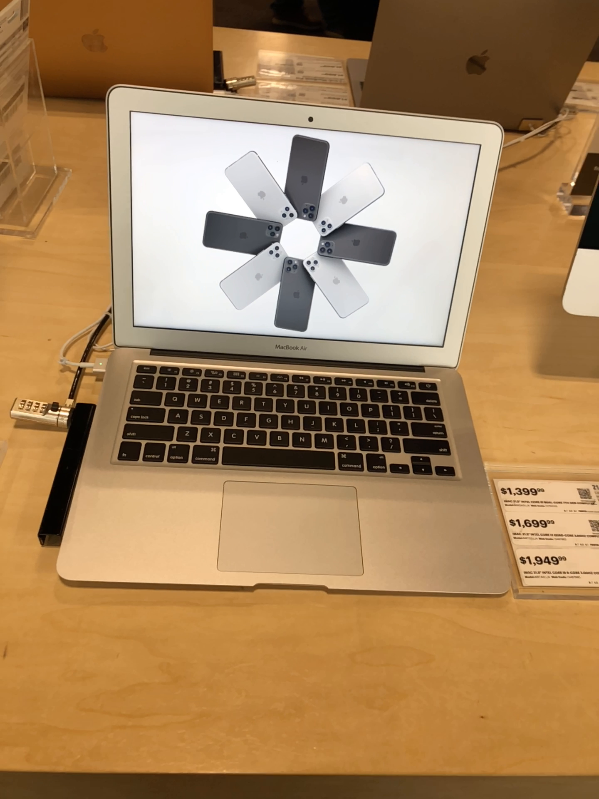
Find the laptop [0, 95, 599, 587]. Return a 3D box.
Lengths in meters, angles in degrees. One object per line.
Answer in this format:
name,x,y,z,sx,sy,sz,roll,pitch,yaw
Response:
laptop,0.005,-0.055,0.501,0.323,0.202,0.311,3,47,-2
